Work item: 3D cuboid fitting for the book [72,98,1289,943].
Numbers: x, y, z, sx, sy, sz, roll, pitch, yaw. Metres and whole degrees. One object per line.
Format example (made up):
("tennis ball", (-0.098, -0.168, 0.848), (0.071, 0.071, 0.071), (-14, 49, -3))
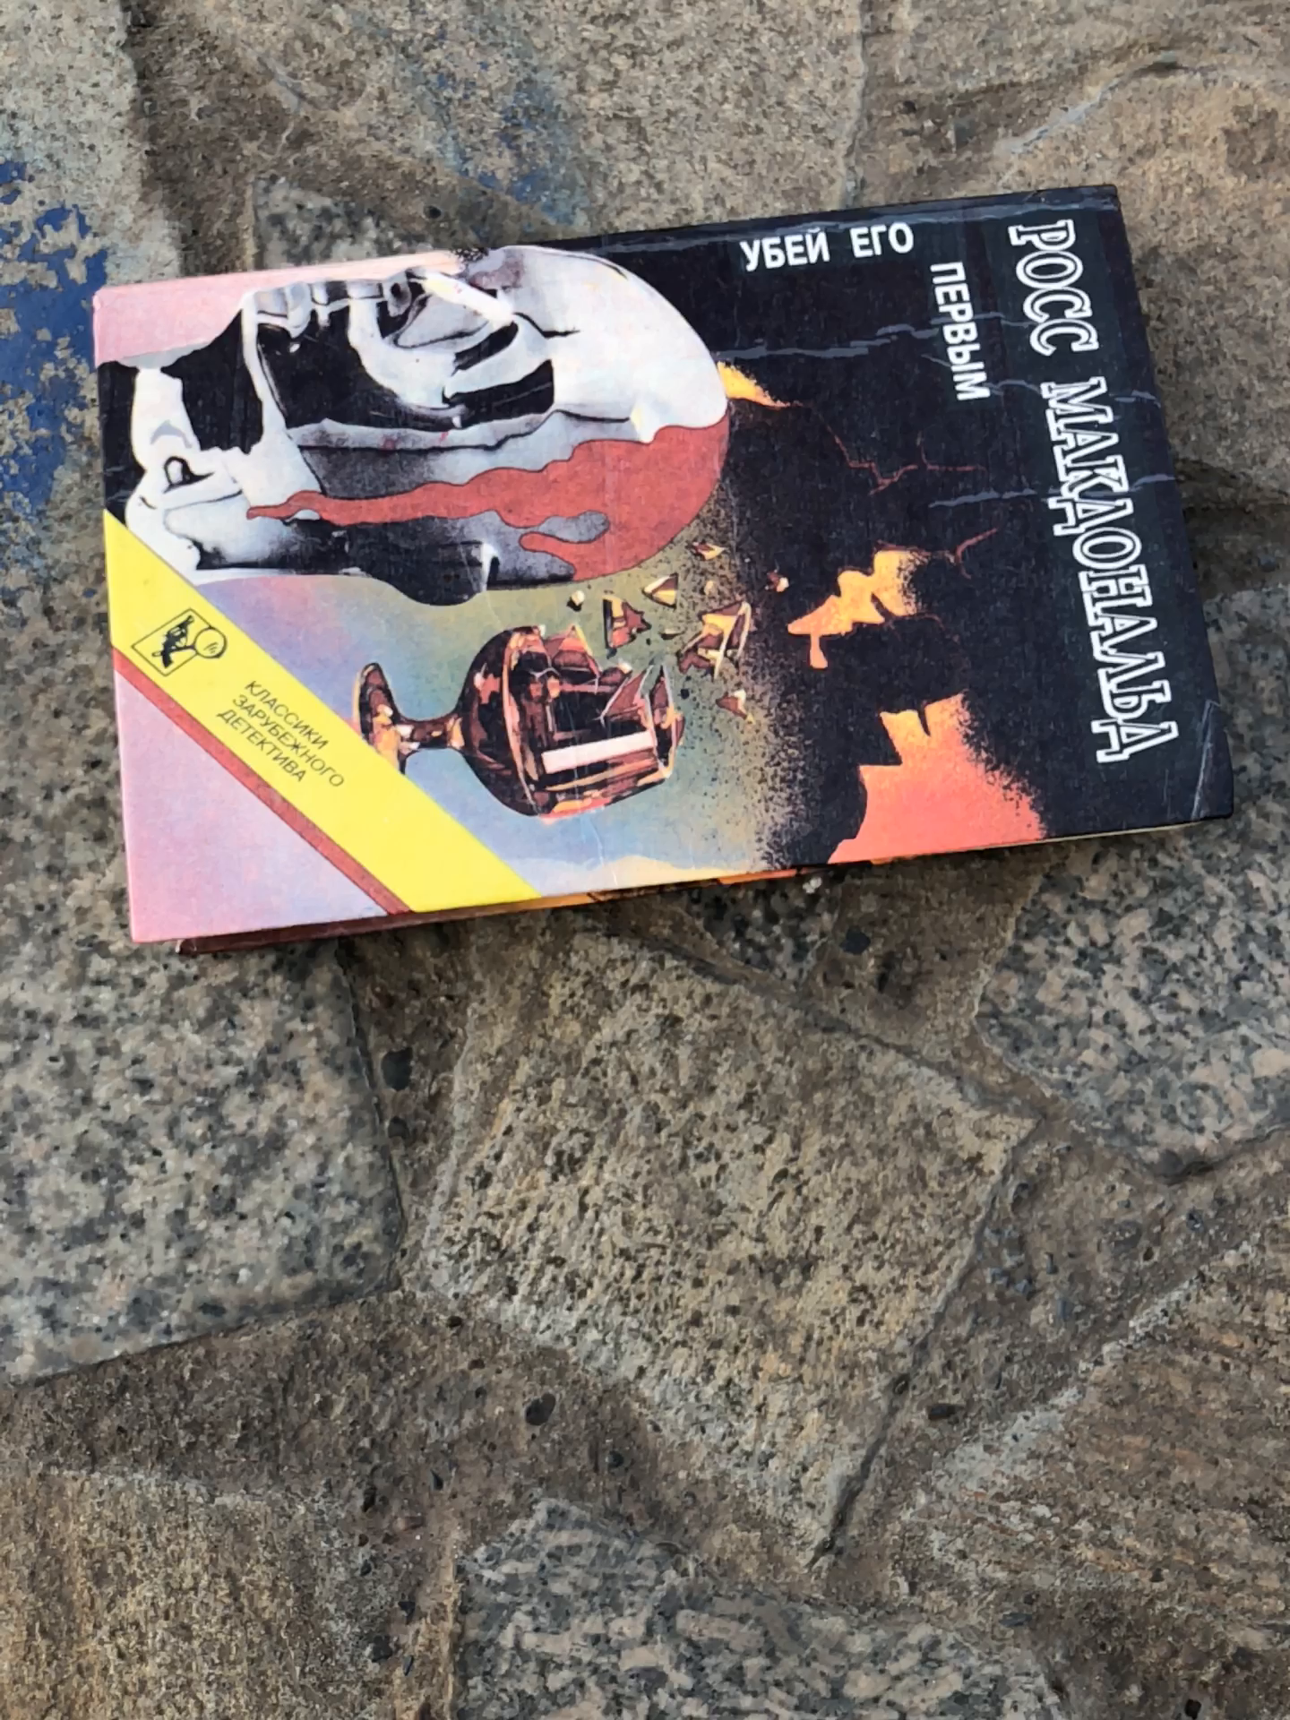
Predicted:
("book", (0.003, -0.067, 0.281), (0.210, 0.030, 0.140), (-6, 80, -3))
